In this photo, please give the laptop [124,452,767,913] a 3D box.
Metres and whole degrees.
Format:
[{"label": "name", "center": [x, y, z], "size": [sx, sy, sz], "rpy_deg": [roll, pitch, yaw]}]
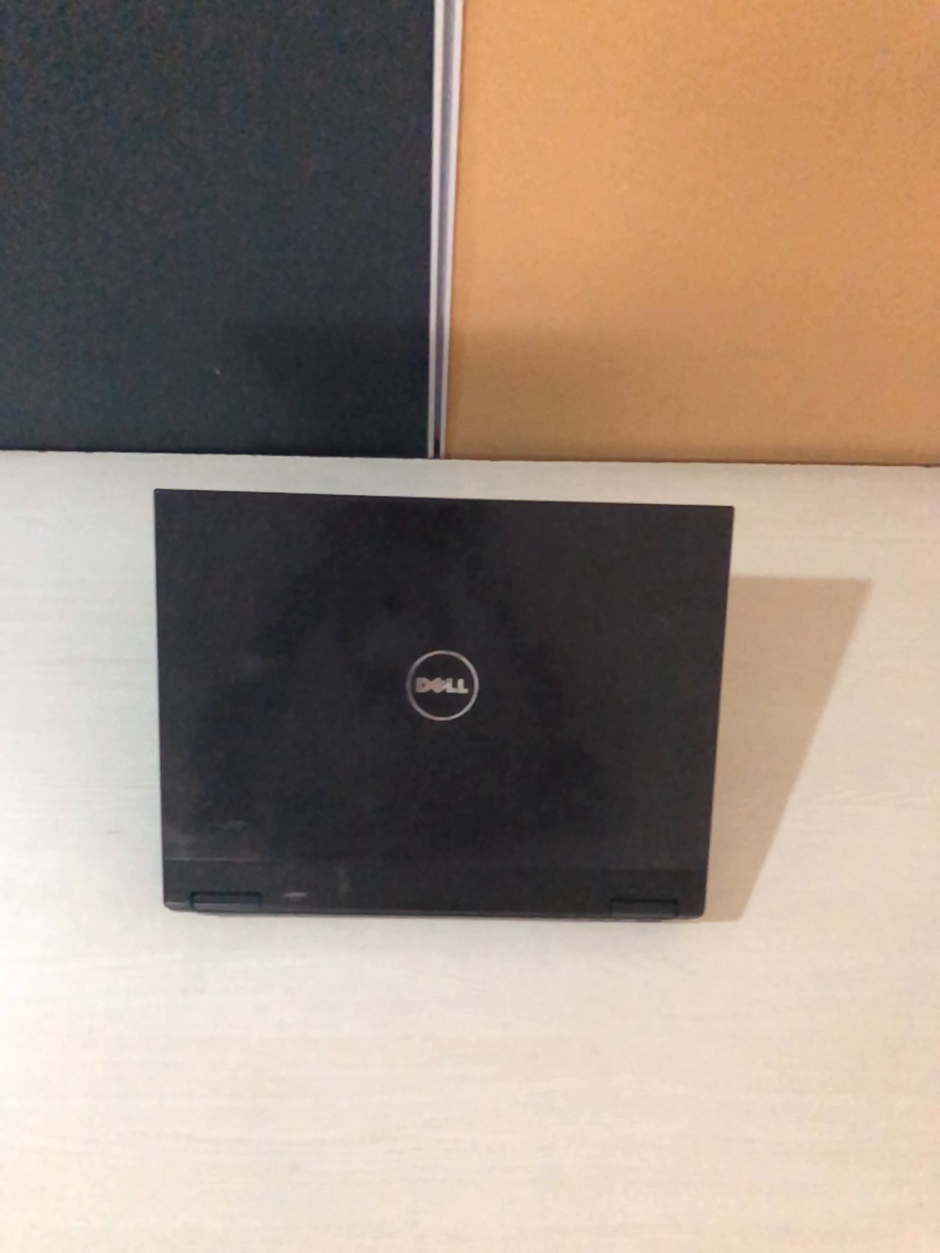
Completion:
[{"label": "laptop", "center": [-0.011, 0.037, 0.586], "size": [0.302, 0.127, 0.225], "rpy_deg": [1, 69, -2]}]
